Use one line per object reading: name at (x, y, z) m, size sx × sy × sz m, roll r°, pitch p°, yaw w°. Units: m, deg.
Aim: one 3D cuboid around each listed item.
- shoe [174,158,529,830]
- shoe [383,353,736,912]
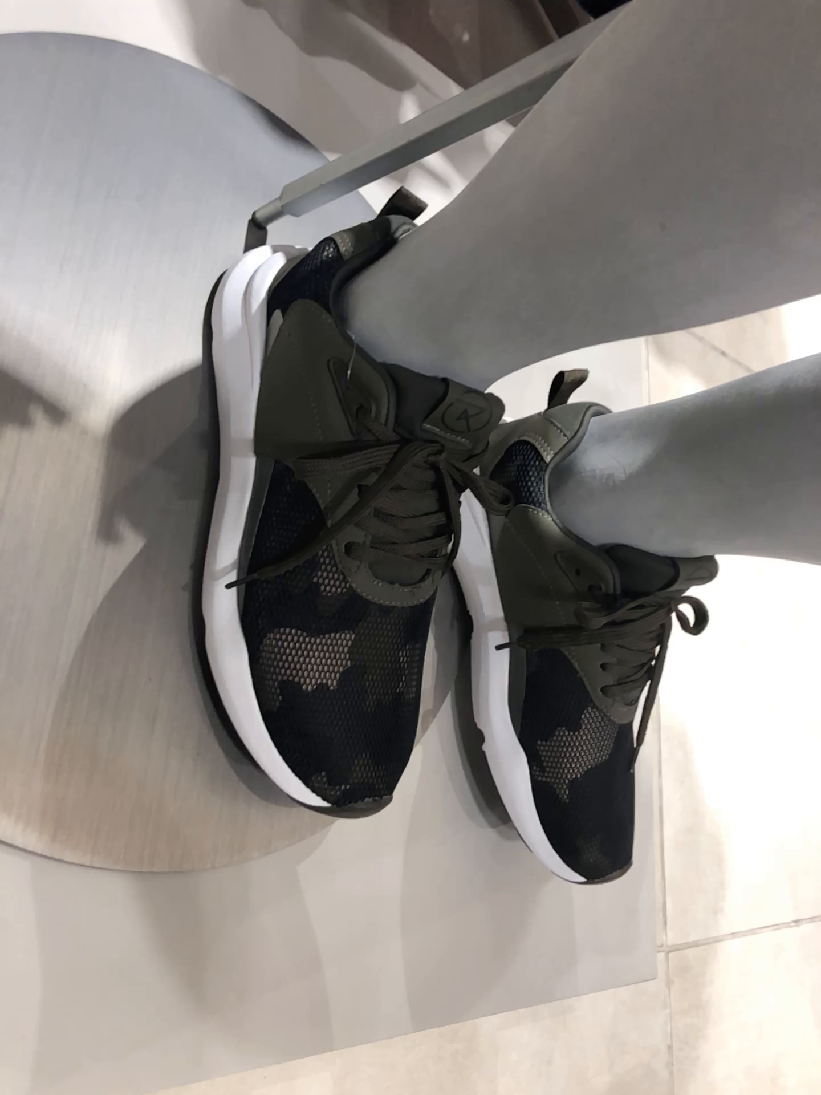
shoe at (-0.033, -0.015, 0.419) m, size 0.101 × 0.119 × 0.260 m, roll 6°, pitch 77°, yaw -44°
shoe at (0.086, 0.043, 0.525) m, size 0.111 × 0.109 × 0.280 m, roll -9°, pitch 87°, yaw -45°
